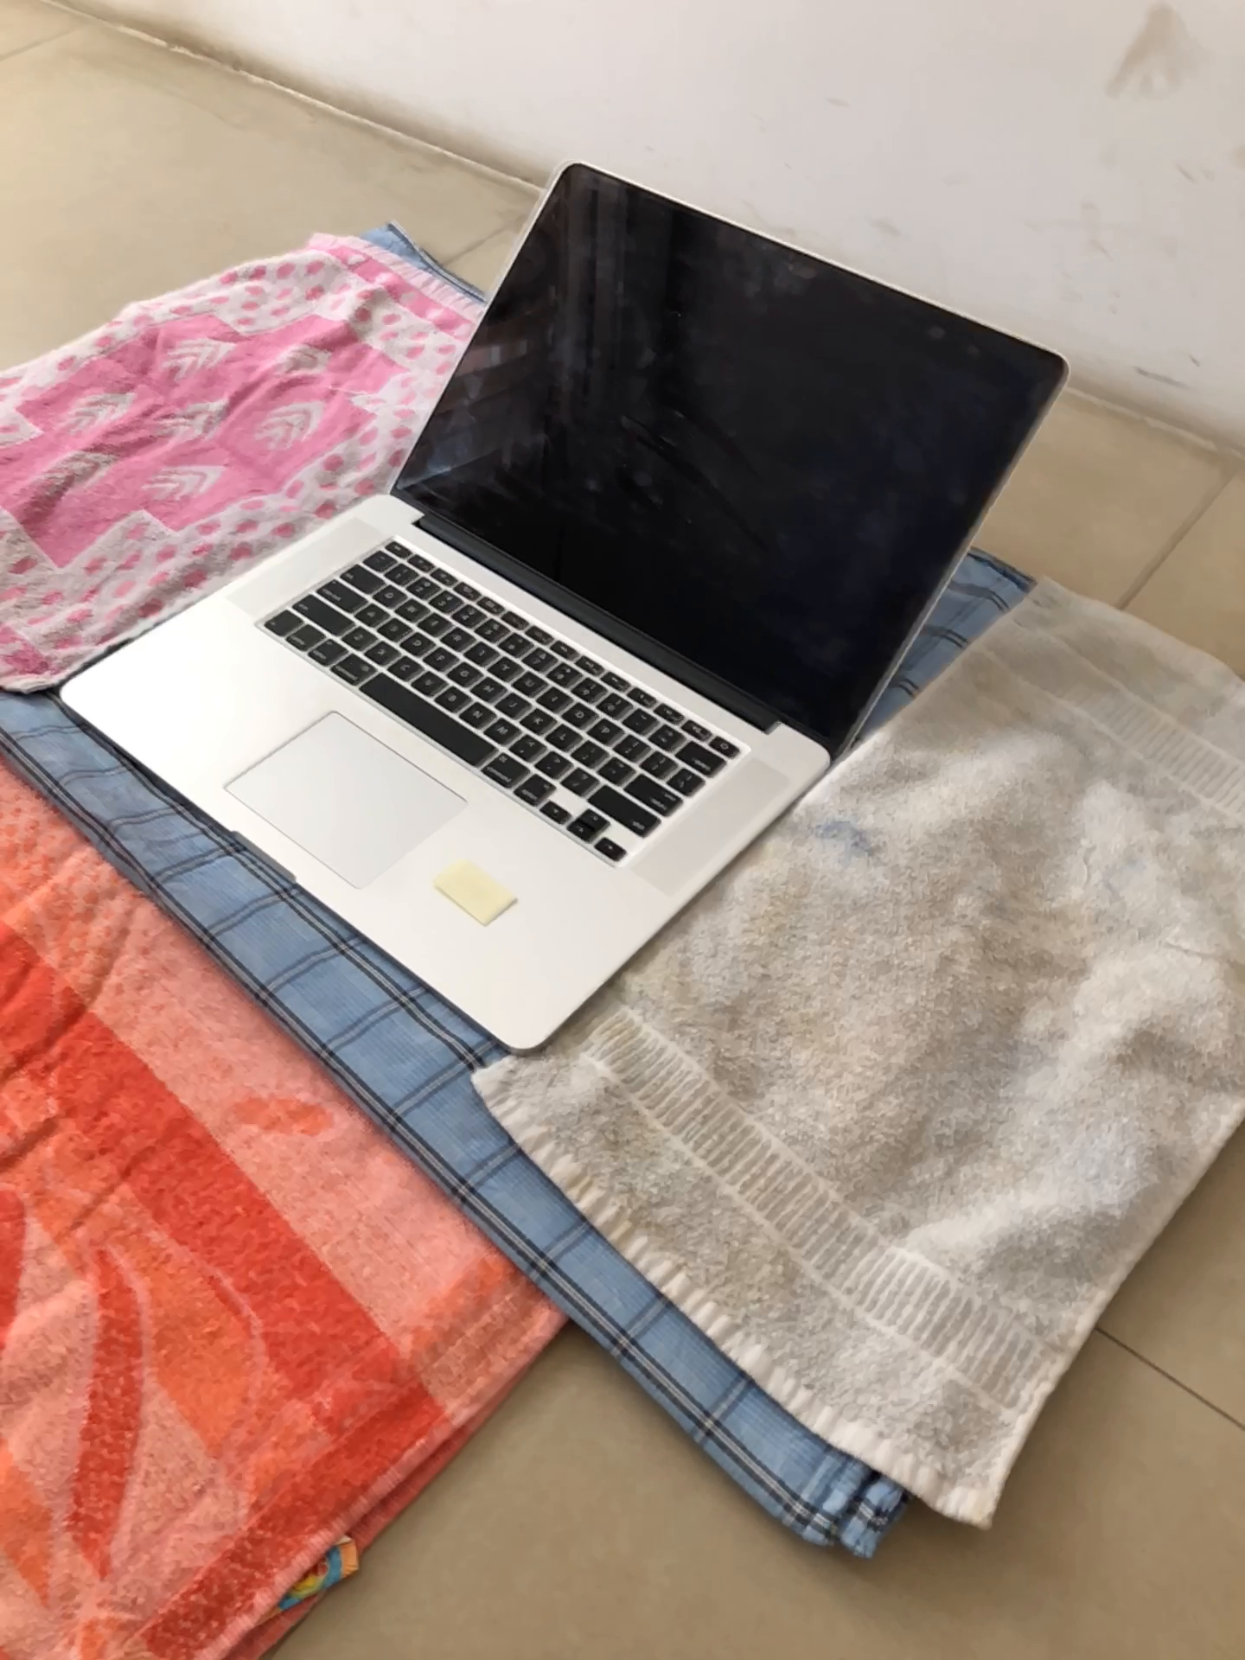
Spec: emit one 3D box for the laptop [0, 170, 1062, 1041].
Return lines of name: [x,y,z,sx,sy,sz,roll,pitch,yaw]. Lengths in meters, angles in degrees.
laptop: [-0.044,-0.156,0.715,0.343,0.144,0.415,32,57,26]
